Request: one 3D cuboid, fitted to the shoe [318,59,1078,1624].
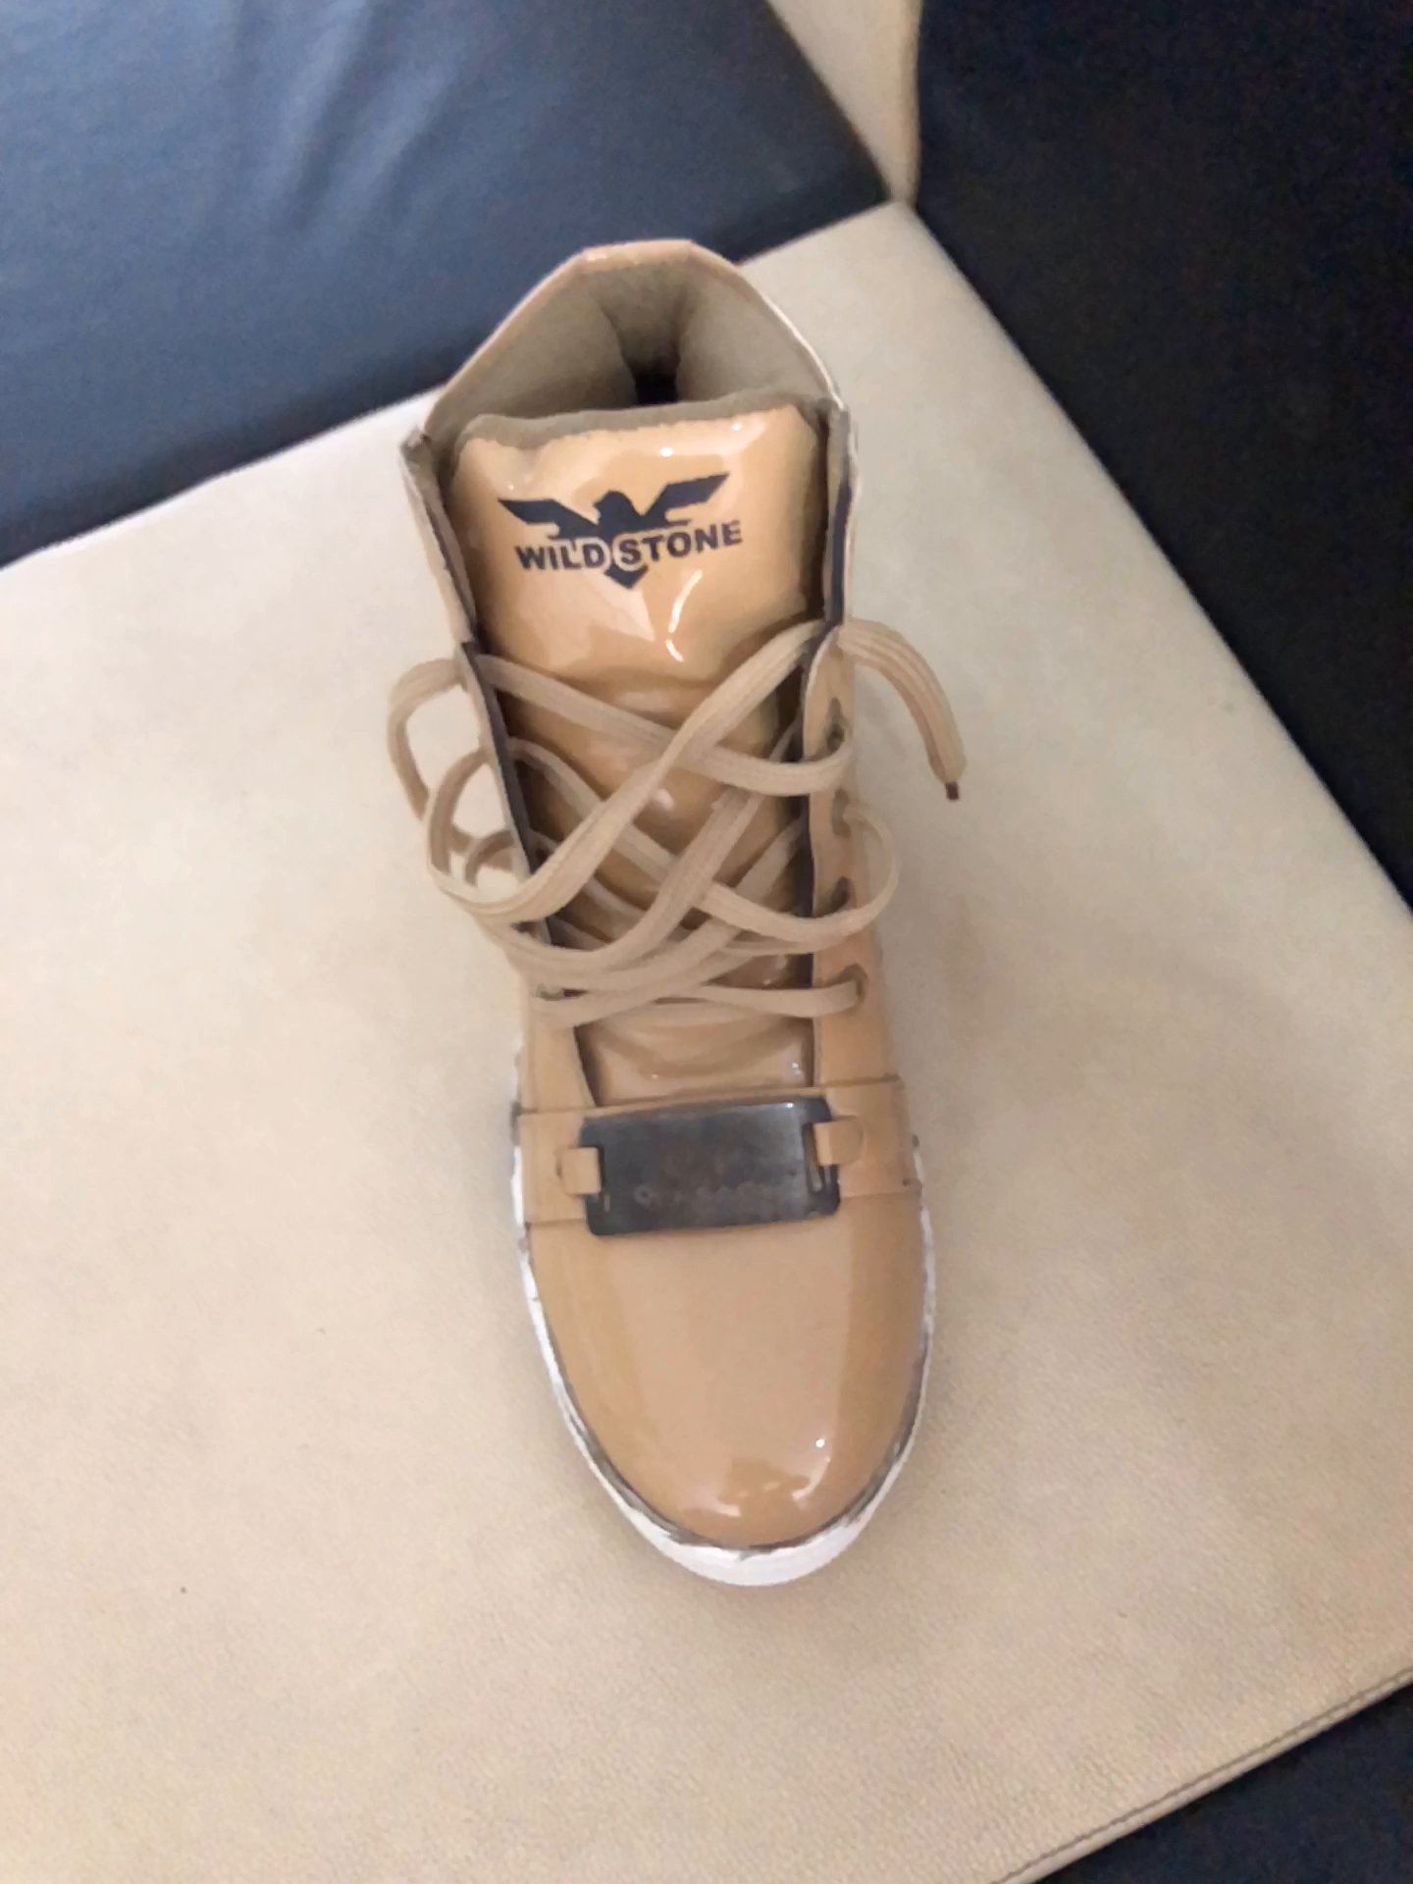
[{"bbox_3d":[-0.006,-0.013,0.336,0.100,0.160,0.280,-8,66,3],"label":"shoe"}]
